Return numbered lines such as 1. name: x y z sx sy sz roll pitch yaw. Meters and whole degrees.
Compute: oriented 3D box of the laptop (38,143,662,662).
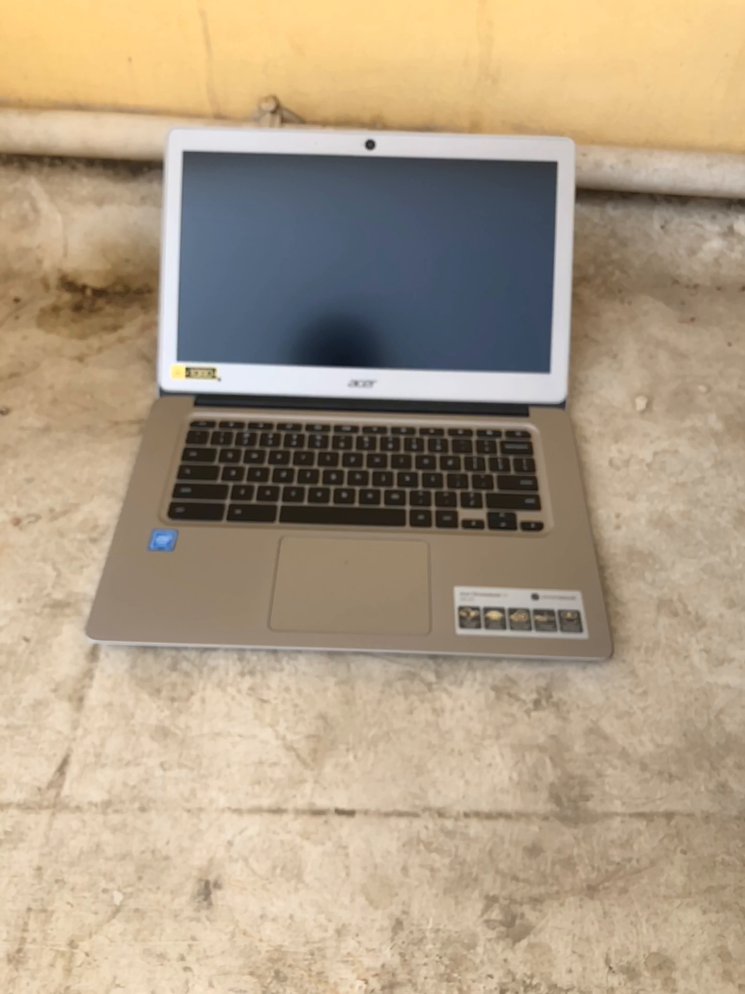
1. laptop: -0.010 -0.090 0.593 0.315 0.136 0.381 1 50 0
